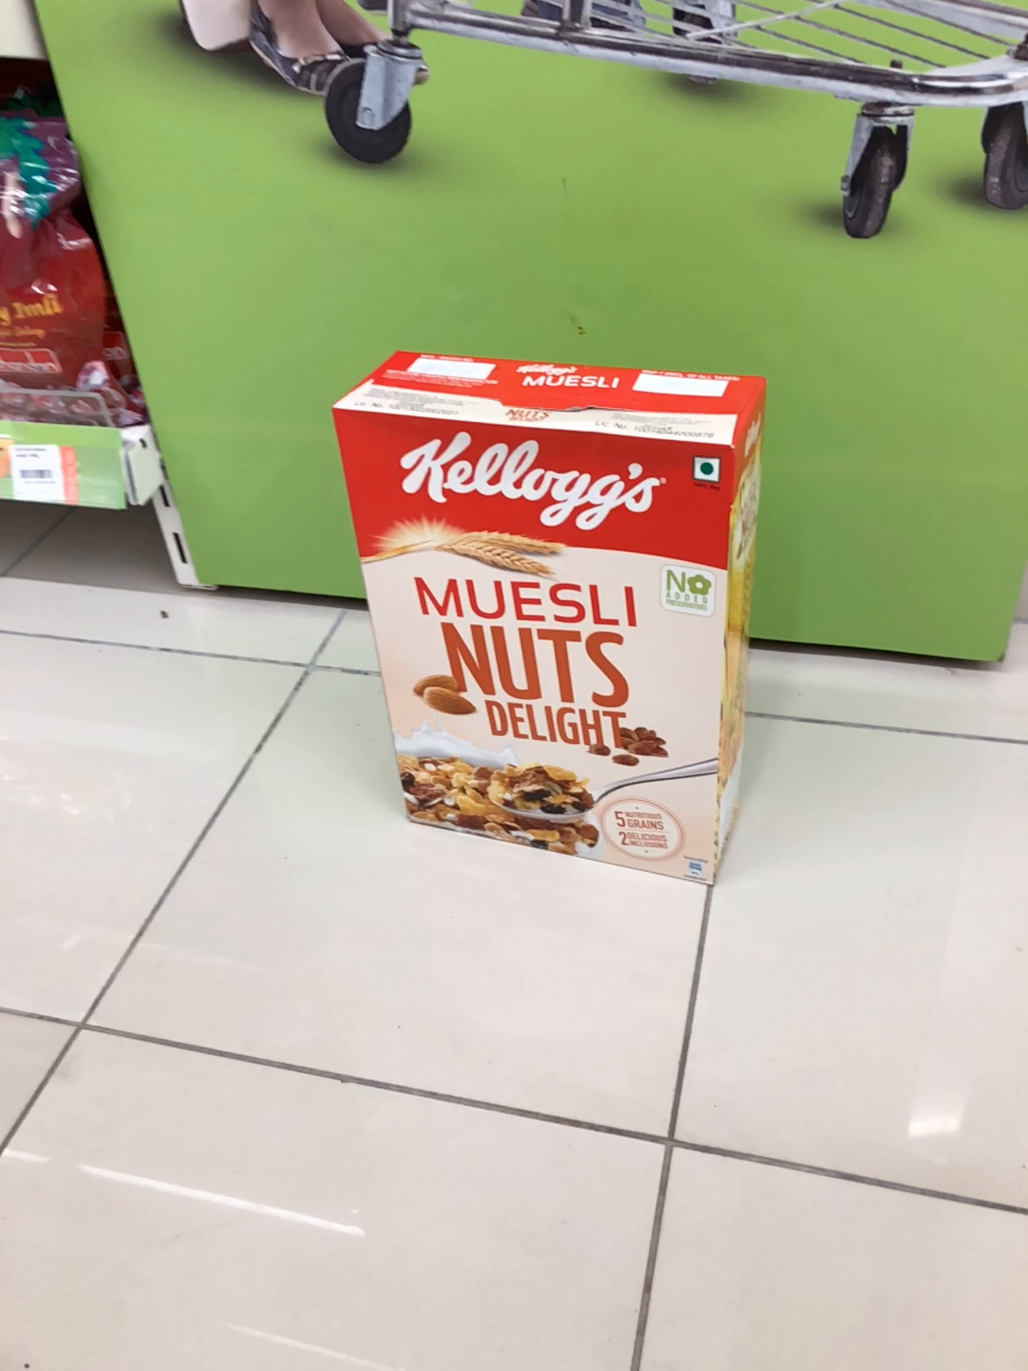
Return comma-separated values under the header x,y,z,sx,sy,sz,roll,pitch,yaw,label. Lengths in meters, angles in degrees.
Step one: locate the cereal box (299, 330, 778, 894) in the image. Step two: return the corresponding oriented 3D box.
x,y,z,sx,sy,sz,roll,pitch,yaw,label
0.020,-0.032,0.589,0.200,0.268,0.081,9,40,17,cereal box
